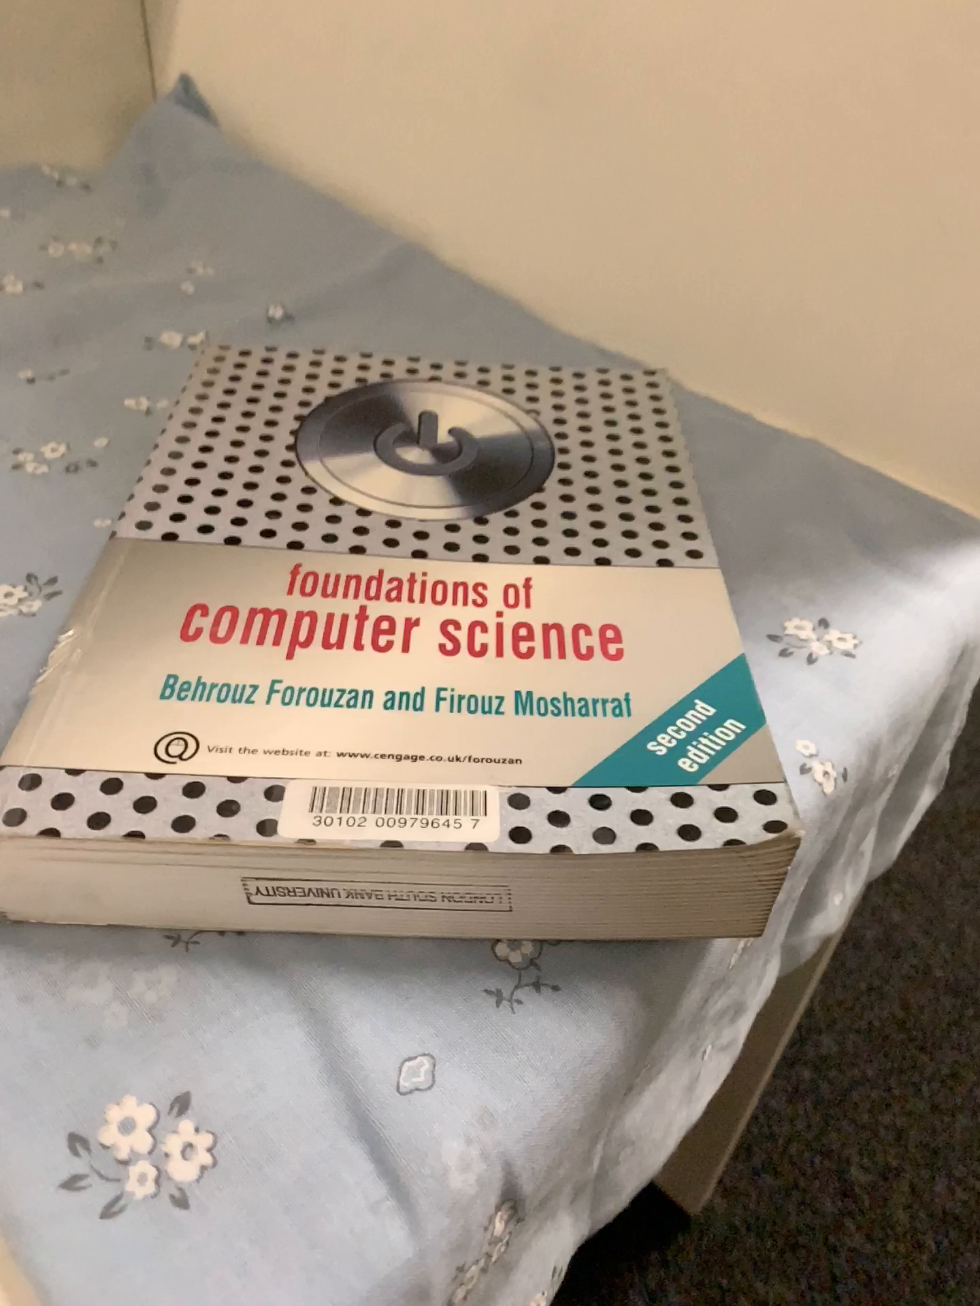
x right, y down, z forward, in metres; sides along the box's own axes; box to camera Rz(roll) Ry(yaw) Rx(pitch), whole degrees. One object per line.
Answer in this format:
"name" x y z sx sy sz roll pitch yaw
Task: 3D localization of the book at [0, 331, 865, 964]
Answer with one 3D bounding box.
"book" -0.016 -0.026 0.319 0.191 0.040 0.248 3 41 -2
